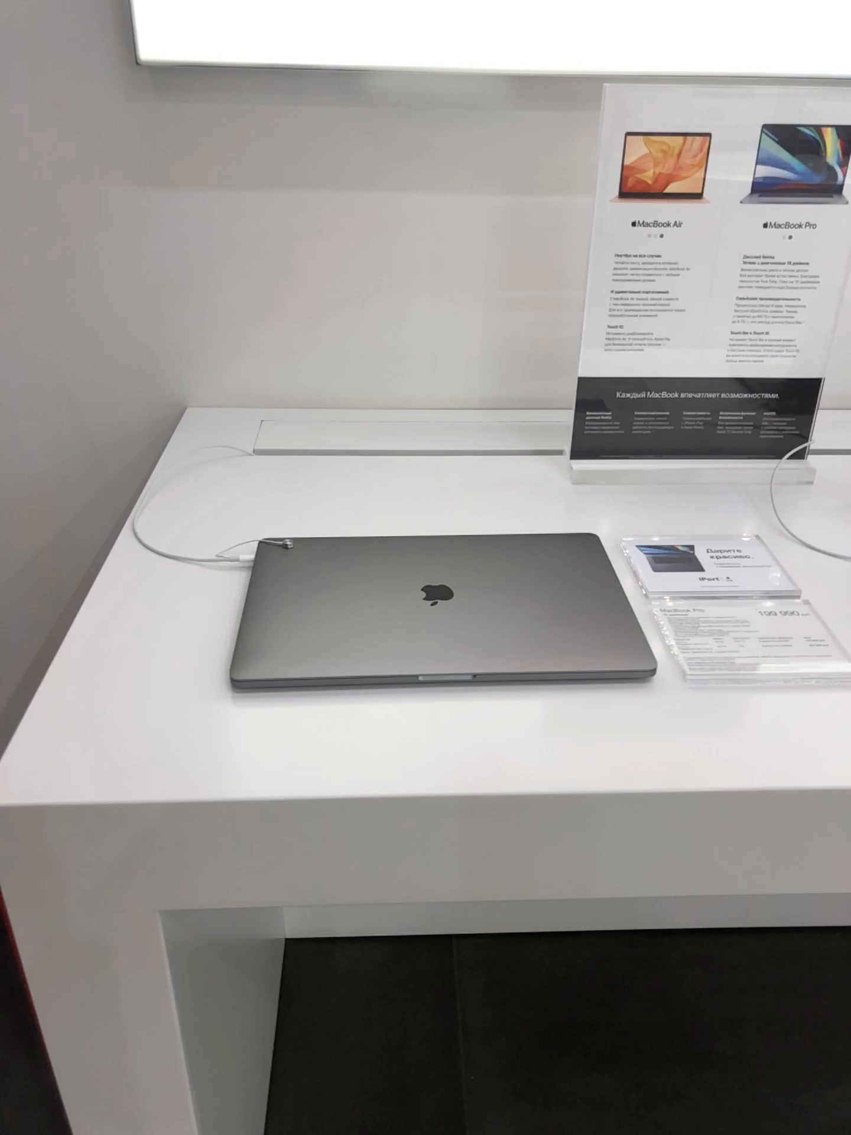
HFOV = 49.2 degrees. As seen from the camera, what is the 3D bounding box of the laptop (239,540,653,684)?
[{"bbox_3d":[0.012,0.033,0.872,0.344,0.003,0.232,-1,30,-3],"label":"laptop"}]
